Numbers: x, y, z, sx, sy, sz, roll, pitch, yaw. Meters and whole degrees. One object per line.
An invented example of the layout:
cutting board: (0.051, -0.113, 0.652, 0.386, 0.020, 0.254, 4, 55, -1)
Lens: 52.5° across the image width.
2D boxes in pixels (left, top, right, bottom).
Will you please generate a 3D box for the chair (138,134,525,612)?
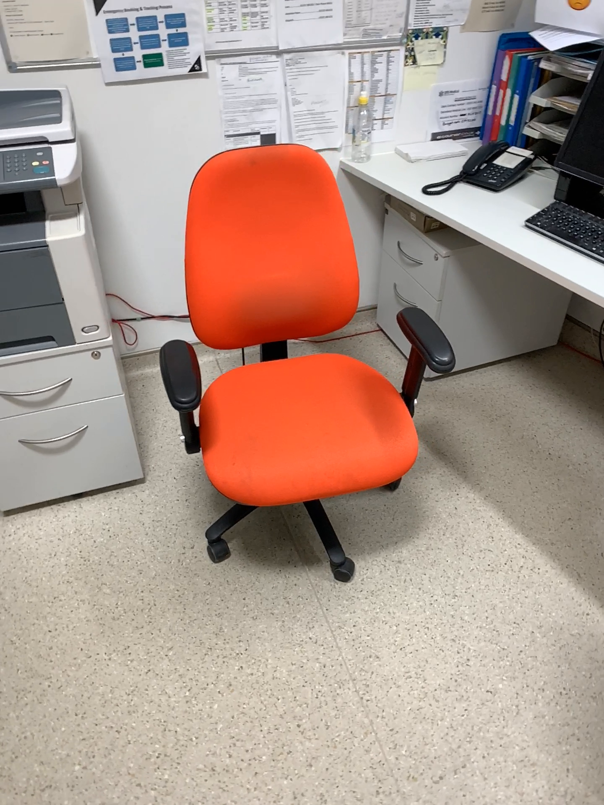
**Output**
chair: (-0.005, -0.086, 1.544, 0.651, 0.893, 0.691, -8, 40, -9)
